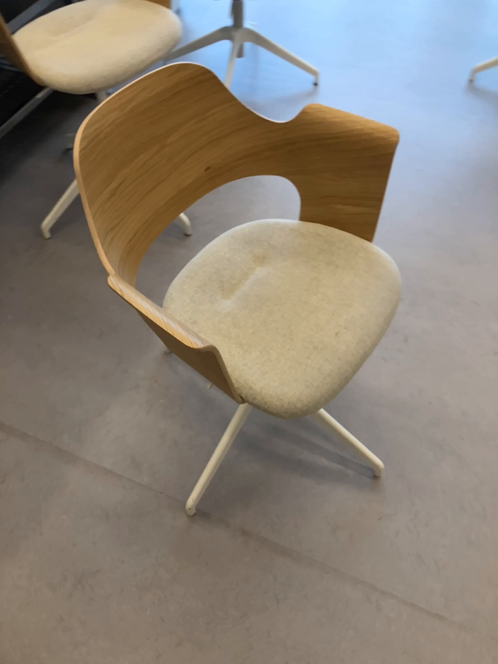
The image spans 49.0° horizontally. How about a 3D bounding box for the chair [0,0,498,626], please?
[{"bbox_3d":[0.056,-0.028,1.060,0.711,0.776,0.662,-38,63,-23],"label":"chair"}]
